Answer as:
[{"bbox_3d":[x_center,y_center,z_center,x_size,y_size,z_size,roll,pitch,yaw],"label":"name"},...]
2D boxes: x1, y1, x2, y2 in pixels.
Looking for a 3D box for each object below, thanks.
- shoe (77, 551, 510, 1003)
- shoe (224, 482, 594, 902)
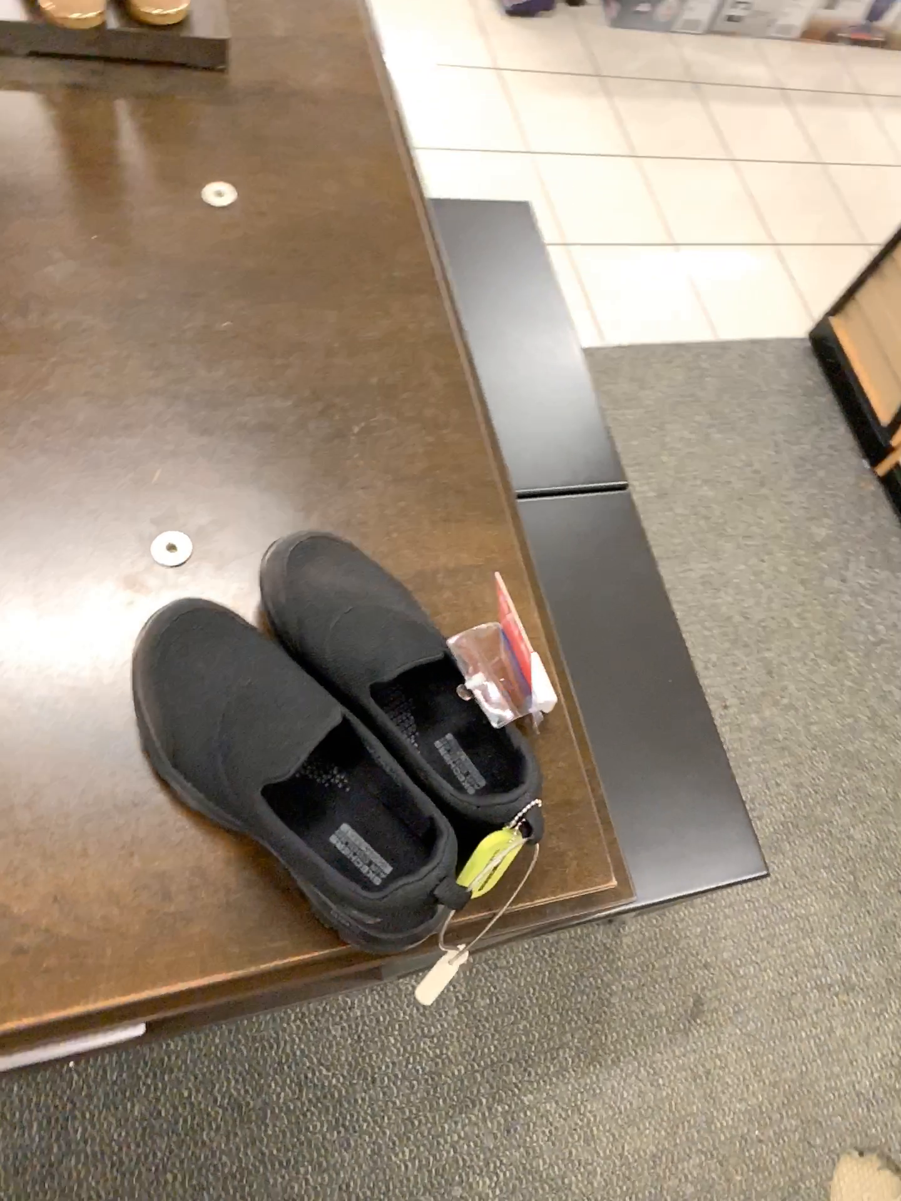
[{"bbox_3d":[-0.098,0.107,0.547,0.244,0.110,0.094,45,61,9],"label":"shoe"},{"bbox_3d":[-0.036,0.059,0.586,0.094,0.110,0.230,-33,77,-27],"label":"shoe"}]
